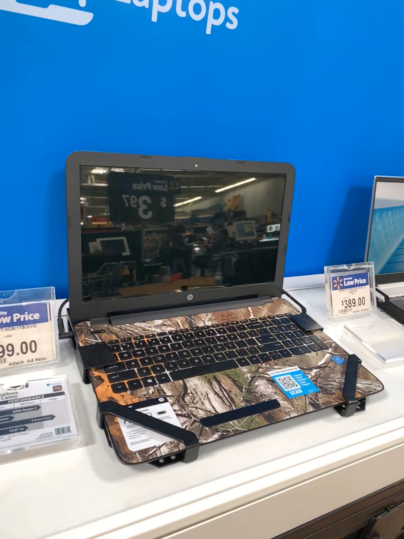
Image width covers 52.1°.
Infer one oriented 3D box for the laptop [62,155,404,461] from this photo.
[{"bbox_3d":[0.037,0.007,0.555,0.374,0.227,0.304,-4,29,-27],"label":"laptop"}]
